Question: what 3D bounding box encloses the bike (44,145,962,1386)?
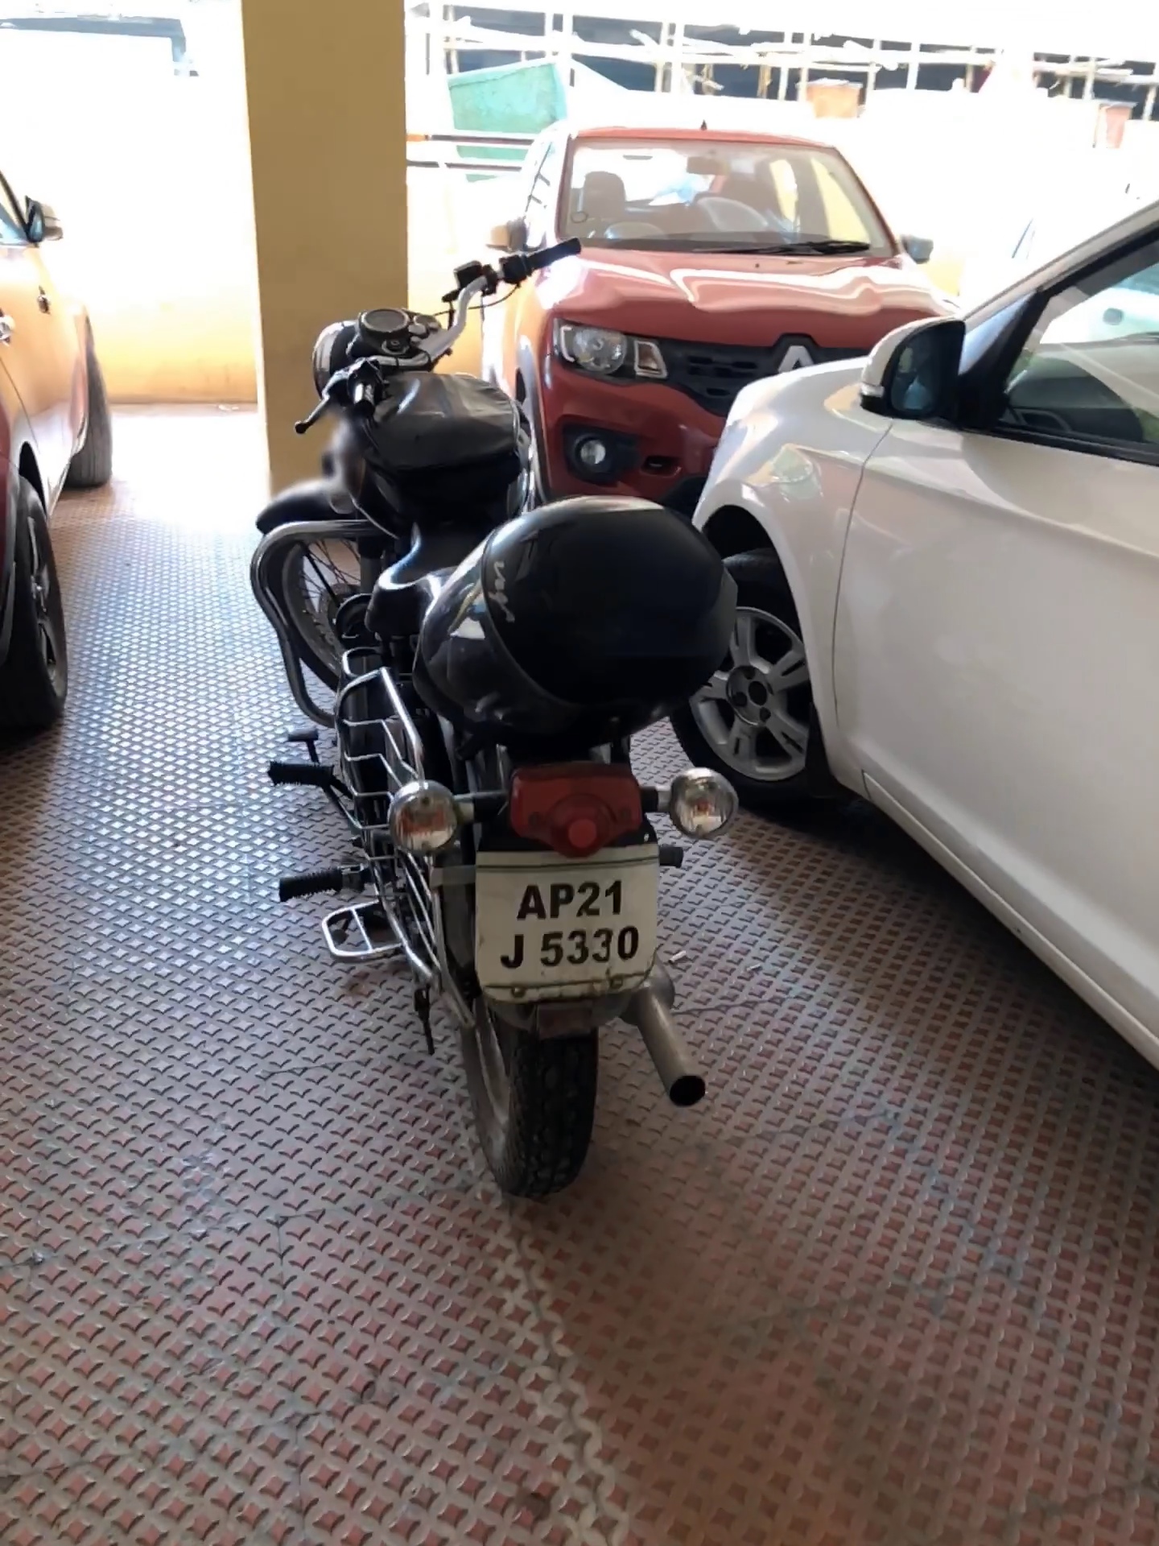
[{"bbox_3d":[-0.361,-0.253,2.075,0.692,1.218,1.792,-8,30,-21],"label":"bike"}]
